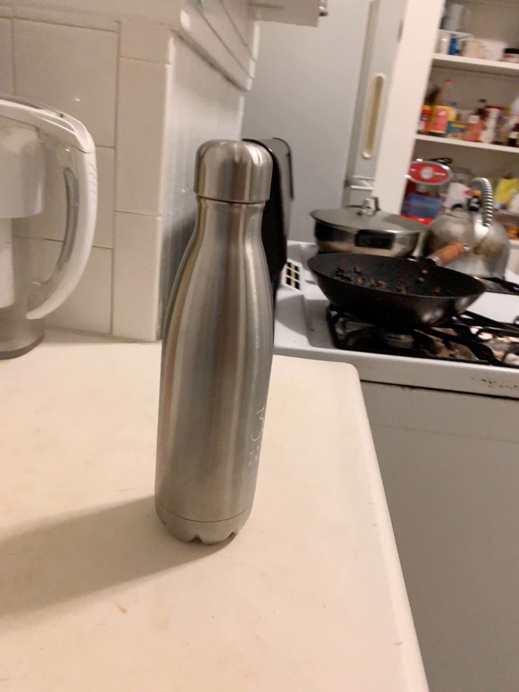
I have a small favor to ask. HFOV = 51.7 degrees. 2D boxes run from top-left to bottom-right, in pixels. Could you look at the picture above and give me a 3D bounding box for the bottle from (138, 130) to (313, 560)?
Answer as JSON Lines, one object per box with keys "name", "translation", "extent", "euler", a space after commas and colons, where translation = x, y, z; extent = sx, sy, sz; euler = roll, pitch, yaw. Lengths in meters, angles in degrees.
{"name": "bottle", "translation": [-0.024, 0.004, 0.333], "extent": [0.070, 0.249, 0.070], "euler": [6, 22, -3]}
